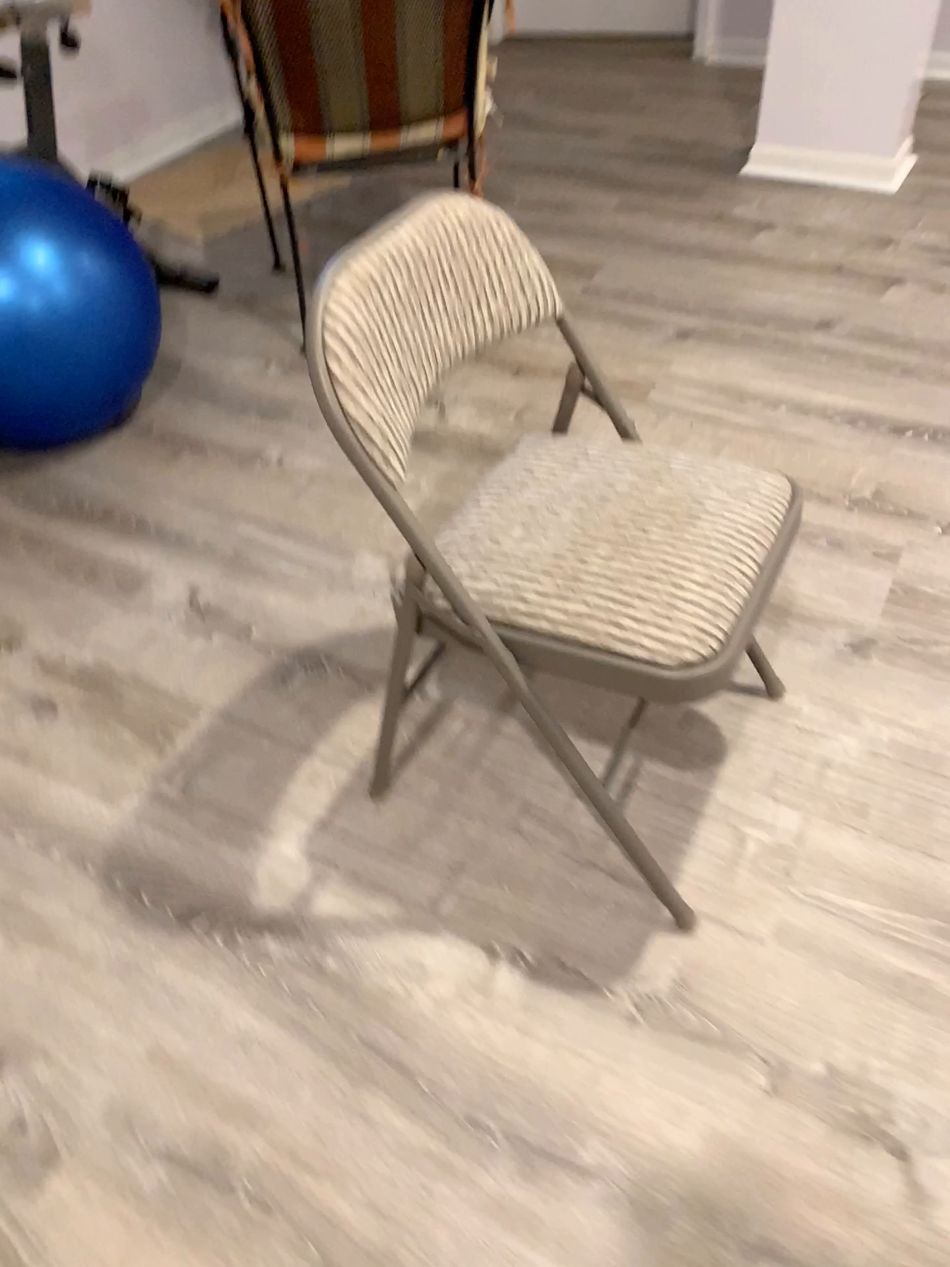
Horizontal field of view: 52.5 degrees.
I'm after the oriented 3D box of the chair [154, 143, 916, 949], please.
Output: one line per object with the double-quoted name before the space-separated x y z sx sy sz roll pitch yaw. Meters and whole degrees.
"chair" 0.105 -0.114 1.176 0.585 0.708 0.505 16 48 21
